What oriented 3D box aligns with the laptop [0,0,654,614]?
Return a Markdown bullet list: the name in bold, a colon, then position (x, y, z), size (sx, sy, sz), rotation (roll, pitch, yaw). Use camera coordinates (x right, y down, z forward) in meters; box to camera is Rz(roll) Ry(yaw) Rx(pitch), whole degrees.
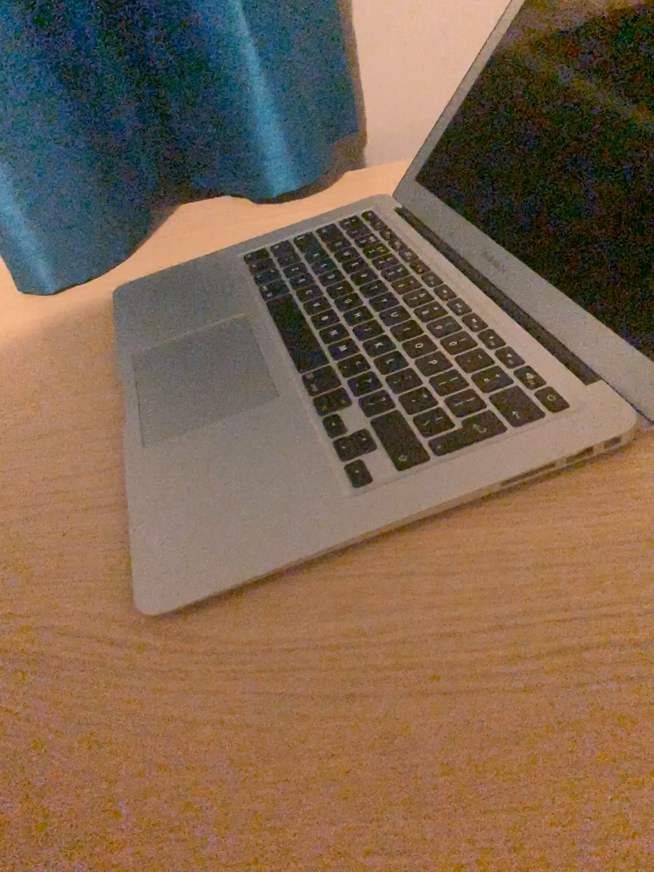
- **laptop**: position (0.044, -0.138, 0.346), size (0.368, 0.144, 0.304), rotation (-20, 39, -6)
